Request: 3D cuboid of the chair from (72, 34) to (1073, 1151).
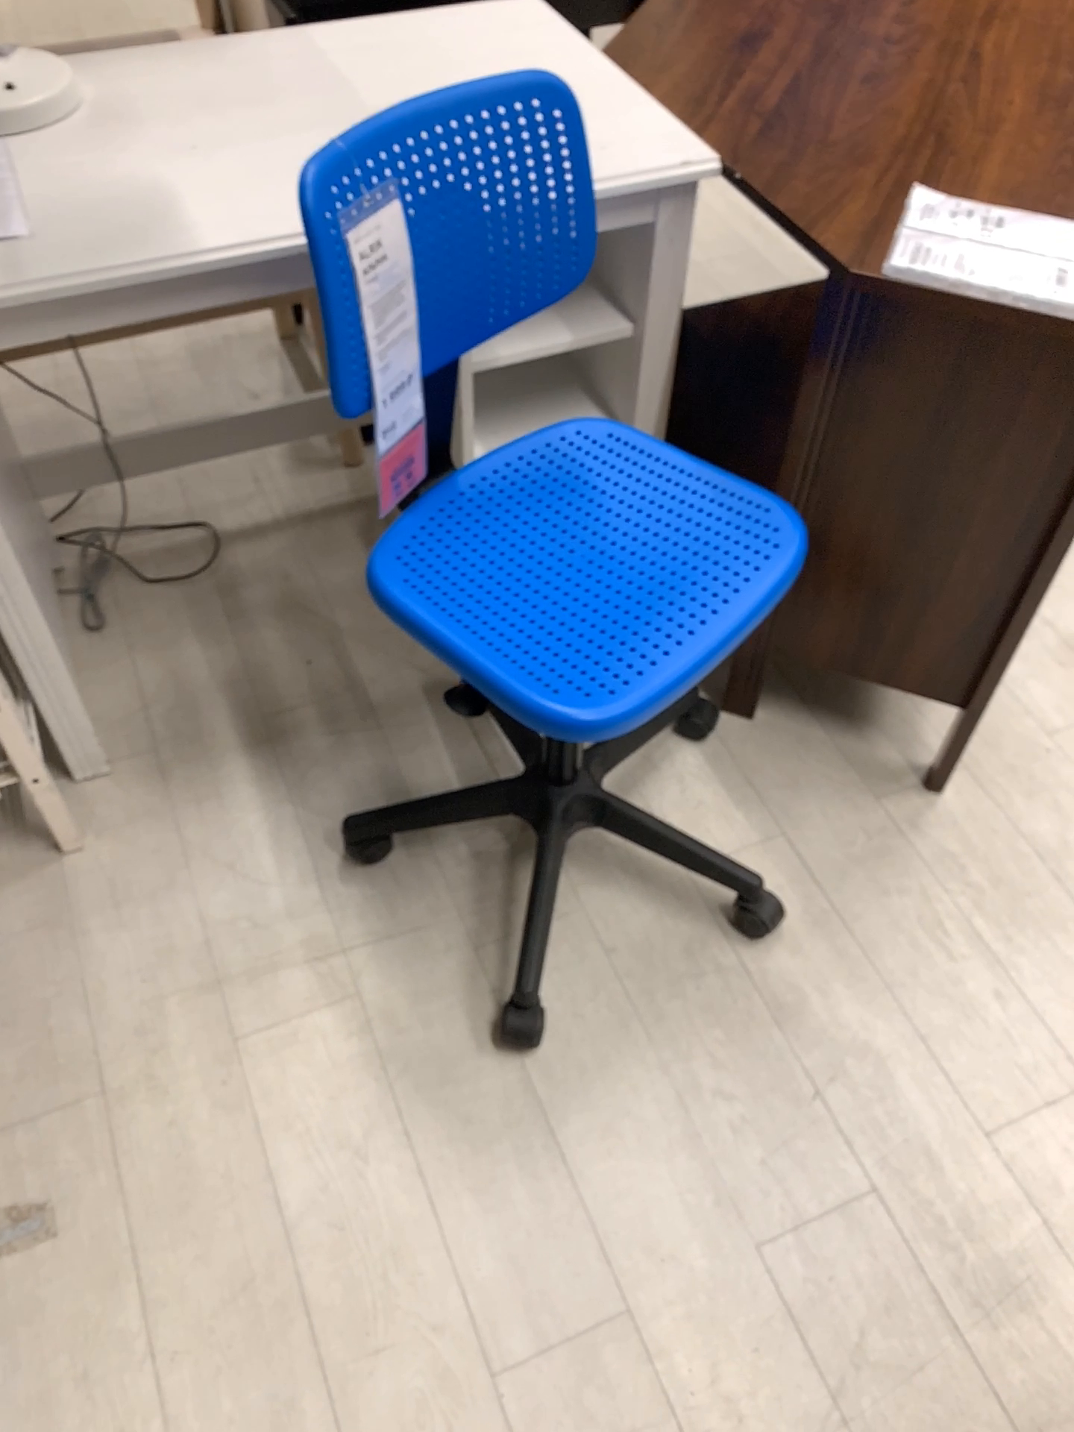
[{"bbox_3d":[0.055,-0.112,1.220,0.621,0.856,0.612,37,58,25],"label":"chair"}]
